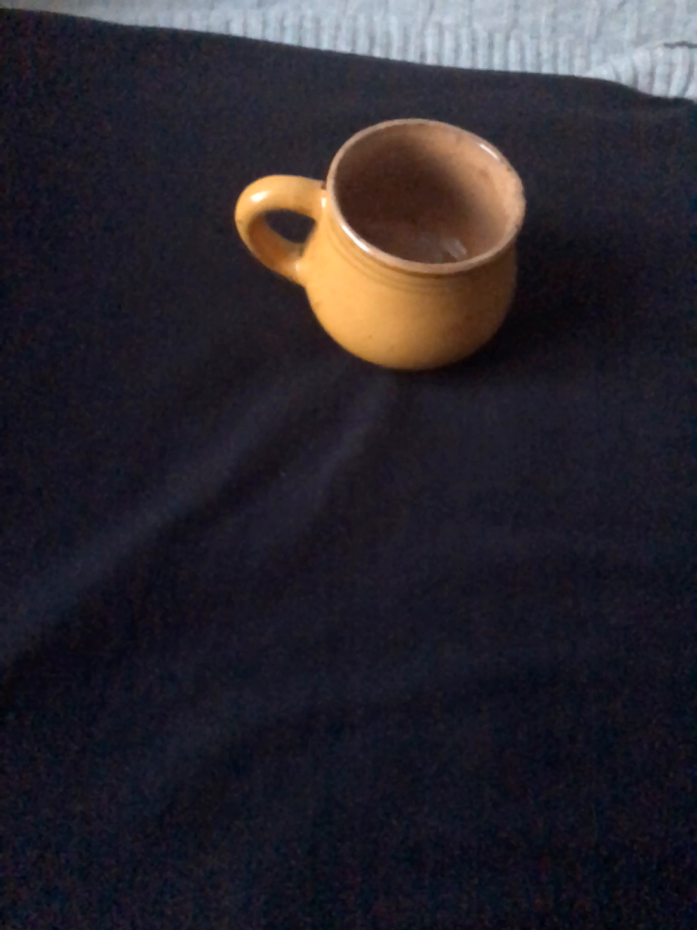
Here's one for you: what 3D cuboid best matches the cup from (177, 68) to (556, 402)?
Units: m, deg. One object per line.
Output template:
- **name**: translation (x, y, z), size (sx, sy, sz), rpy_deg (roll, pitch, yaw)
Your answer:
- **cup**: translation (0.008, -0.087, 0.299), size (0.119, 0.058, 0.082), rpy_deg (13, 62, 1)
